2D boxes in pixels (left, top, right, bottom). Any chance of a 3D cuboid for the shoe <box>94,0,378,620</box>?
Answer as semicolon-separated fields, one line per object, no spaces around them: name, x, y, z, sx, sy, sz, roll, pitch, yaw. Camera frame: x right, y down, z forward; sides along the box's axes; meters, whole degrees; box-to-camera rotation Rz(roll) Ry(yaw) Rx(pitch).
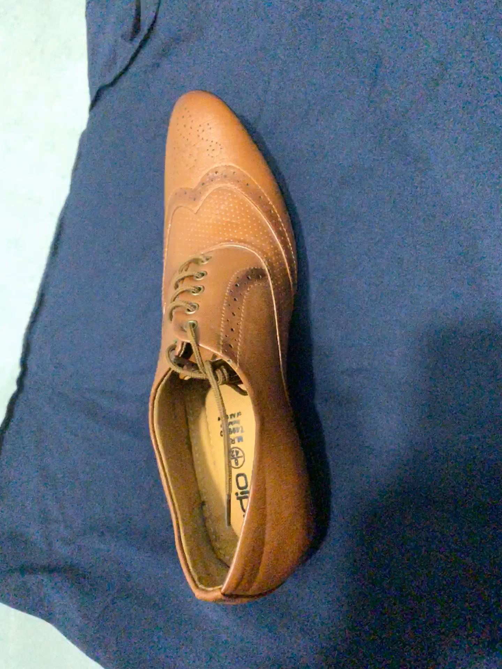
shoe;-0.014;-0.018;0.315;0.100;0.090;0.320;-14;77;29
